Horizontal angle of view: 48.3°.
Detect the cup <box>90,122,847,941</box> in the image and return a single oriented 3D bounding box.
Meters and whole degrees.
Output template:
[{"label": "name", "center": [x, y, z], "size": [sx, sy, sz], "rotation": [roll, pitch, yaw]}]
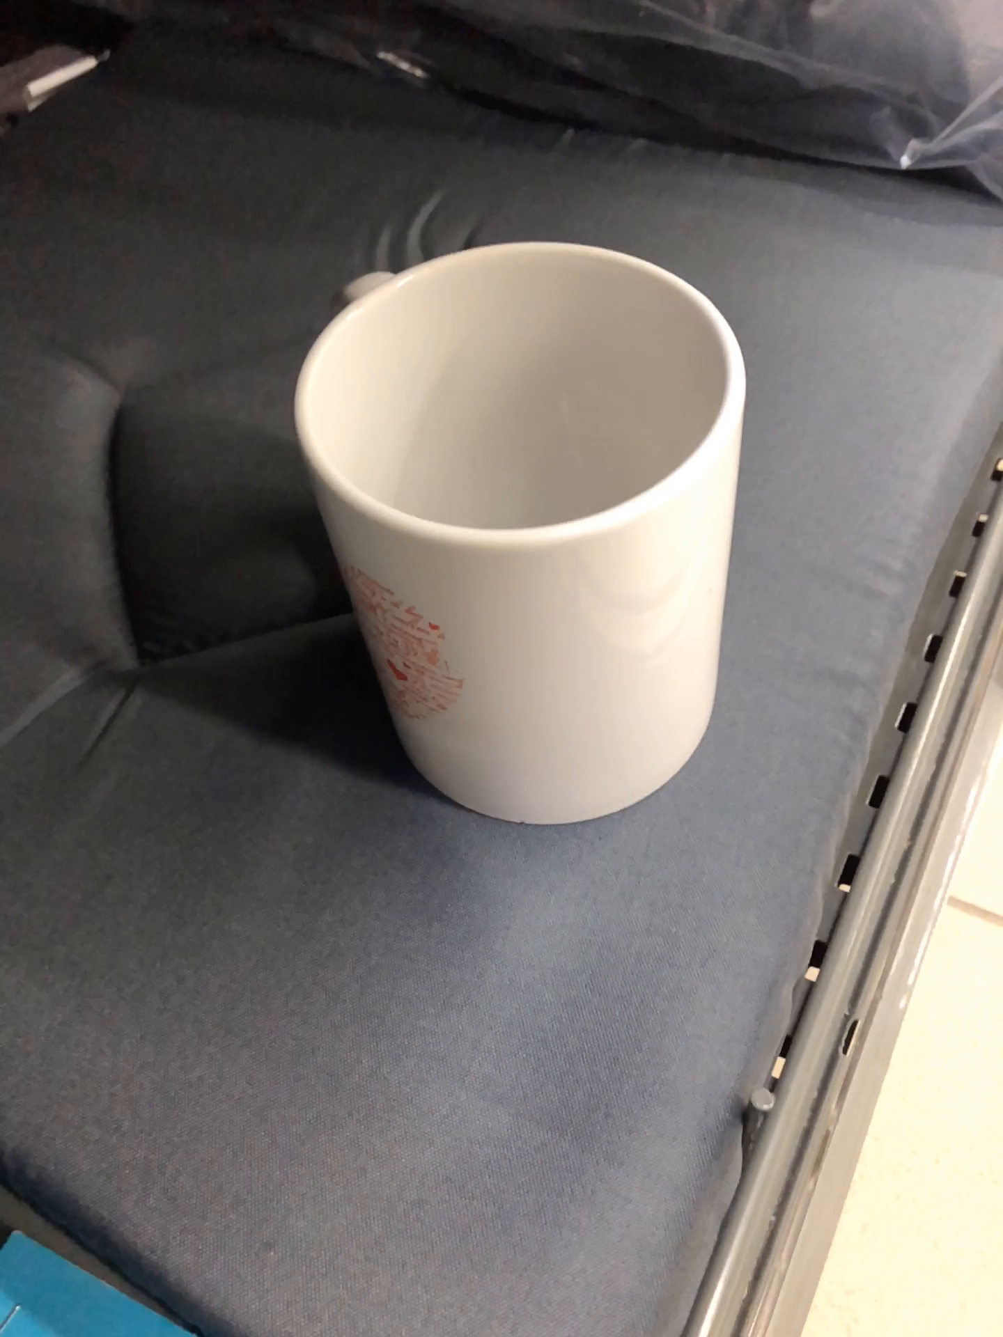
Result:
[{"label": "cup", "center": [-0.008, -0.031, 0.246], "size": [0.090, 0.100, 0.120], "rotation": [-30, 58, -14]}]
